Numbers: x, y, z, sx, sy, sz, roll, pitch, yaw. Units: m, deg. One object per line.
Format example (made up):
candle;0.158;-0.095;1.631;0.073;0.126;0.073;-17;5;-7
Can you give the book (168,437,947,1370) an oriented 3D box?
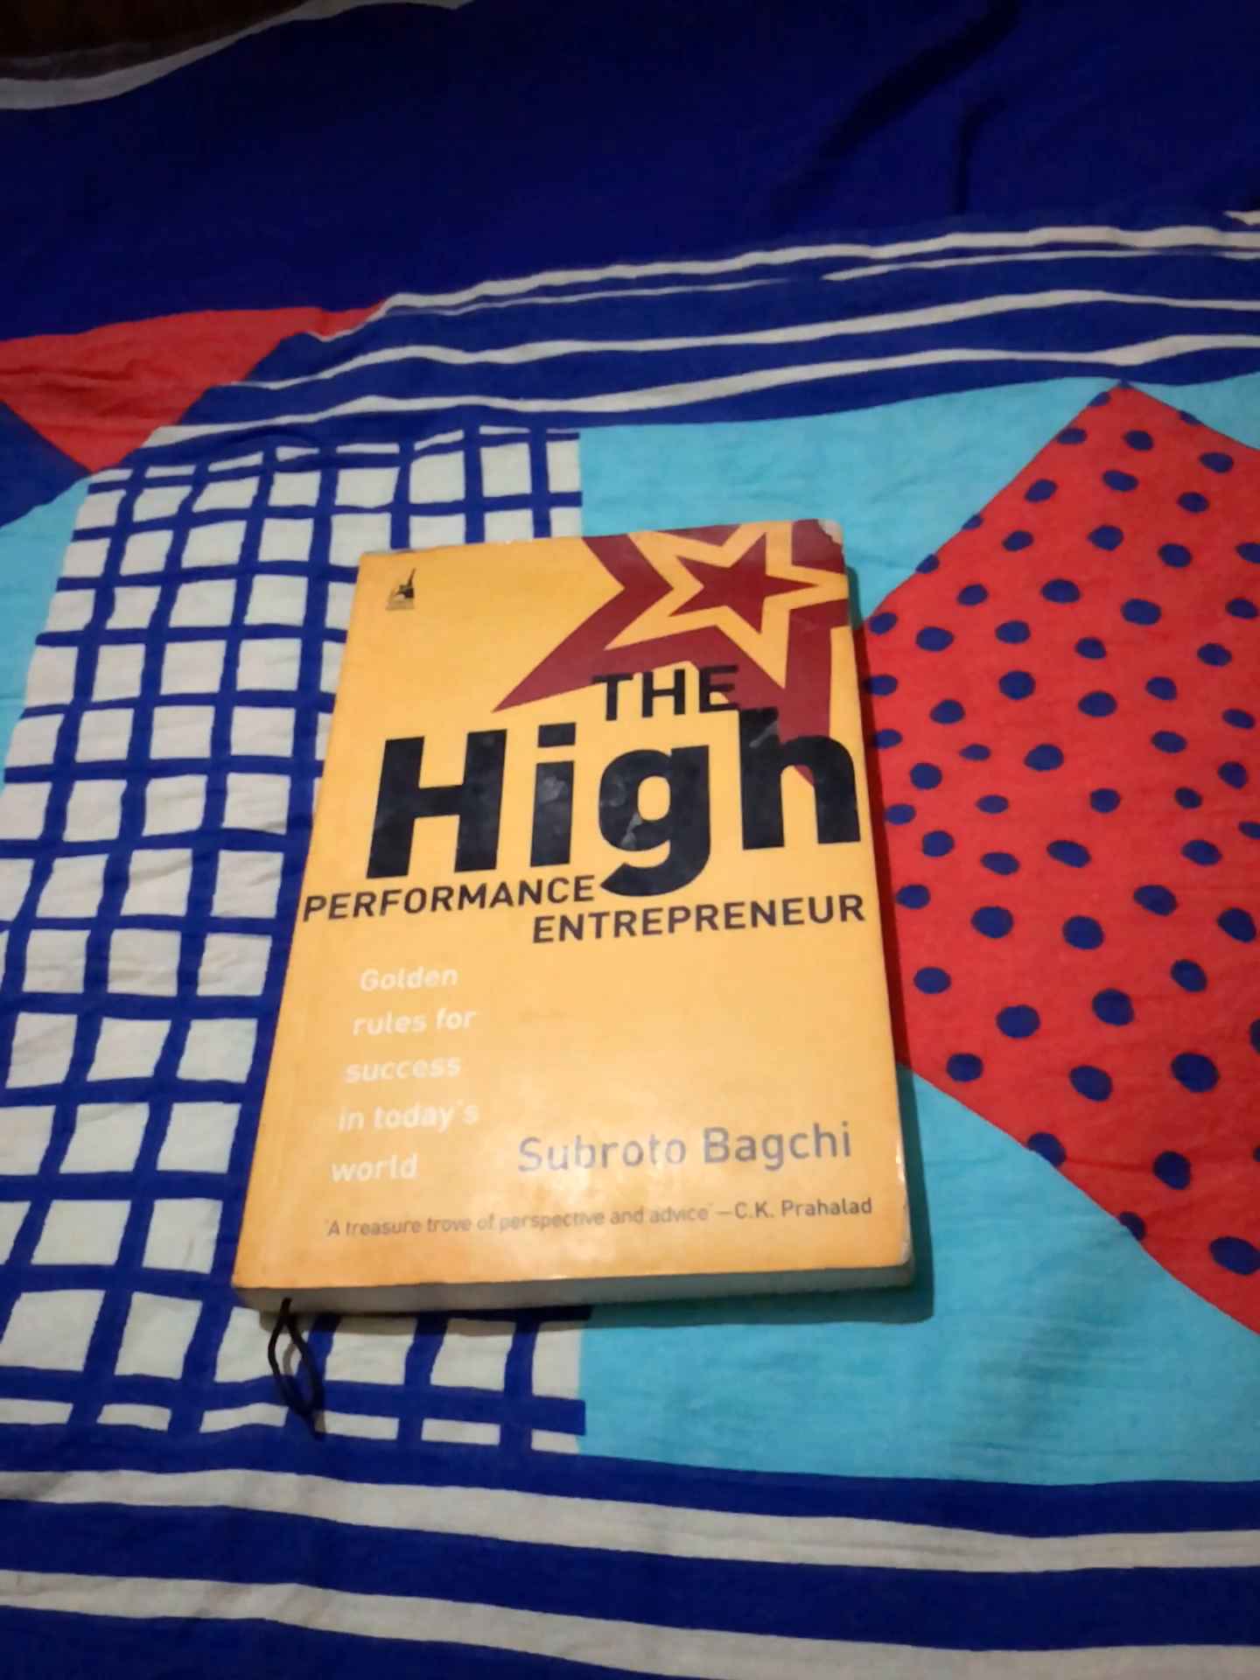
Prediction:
book;-0.012;0.000;0.336;0.140;0.040;0.231;-4;53;6
